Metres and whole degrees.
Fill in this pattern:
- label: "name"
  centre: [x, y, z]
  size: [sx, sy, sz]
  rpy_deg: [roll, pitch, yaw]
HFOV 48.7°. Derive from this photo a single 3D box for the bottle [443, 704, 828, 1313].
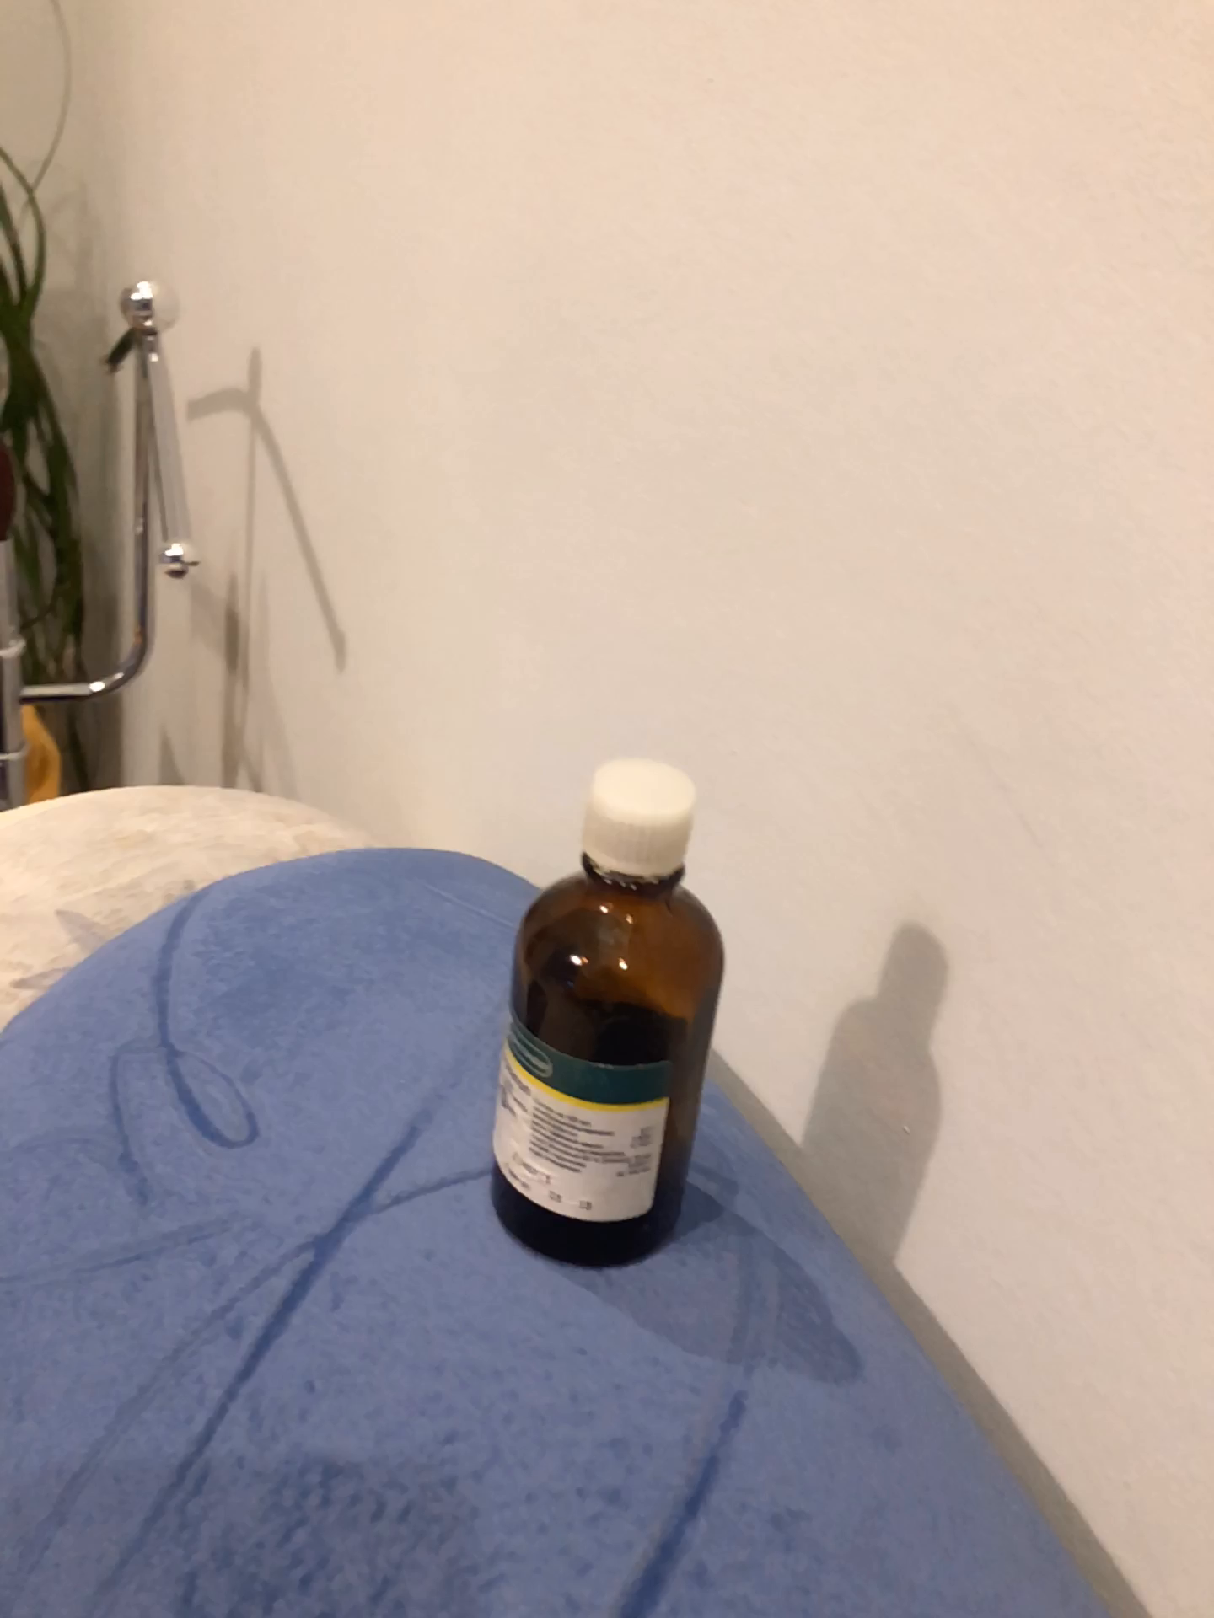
- label: "bottle"
  centre: [0.001, 0.037, 0.250]
  size: [0.040, 0.099, 0.045]
  rpy_deg: [-6, 32, -28]
